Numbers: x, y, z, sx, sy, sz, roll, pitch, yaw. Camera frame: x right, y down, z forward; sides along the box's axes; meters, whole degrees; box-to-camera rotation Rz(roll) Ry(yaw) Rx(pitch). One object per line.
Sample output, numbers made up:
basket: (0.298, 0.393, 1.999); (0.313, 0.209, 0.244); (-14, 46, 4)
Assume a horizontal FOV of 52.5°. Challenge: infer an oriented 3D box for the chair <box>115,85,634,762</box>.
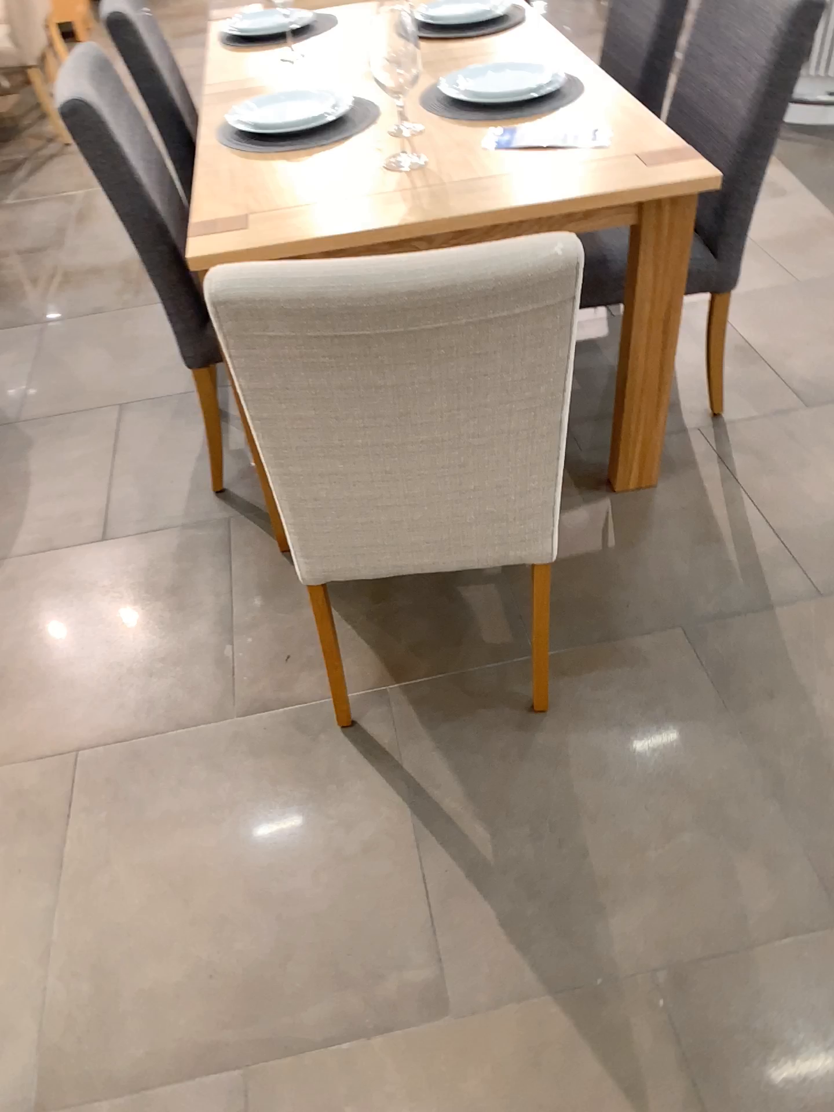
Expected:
chair: (-0.018, -0.195, 1.389); (0.536, 0.838, 0.648); (-5, 43, 2)
